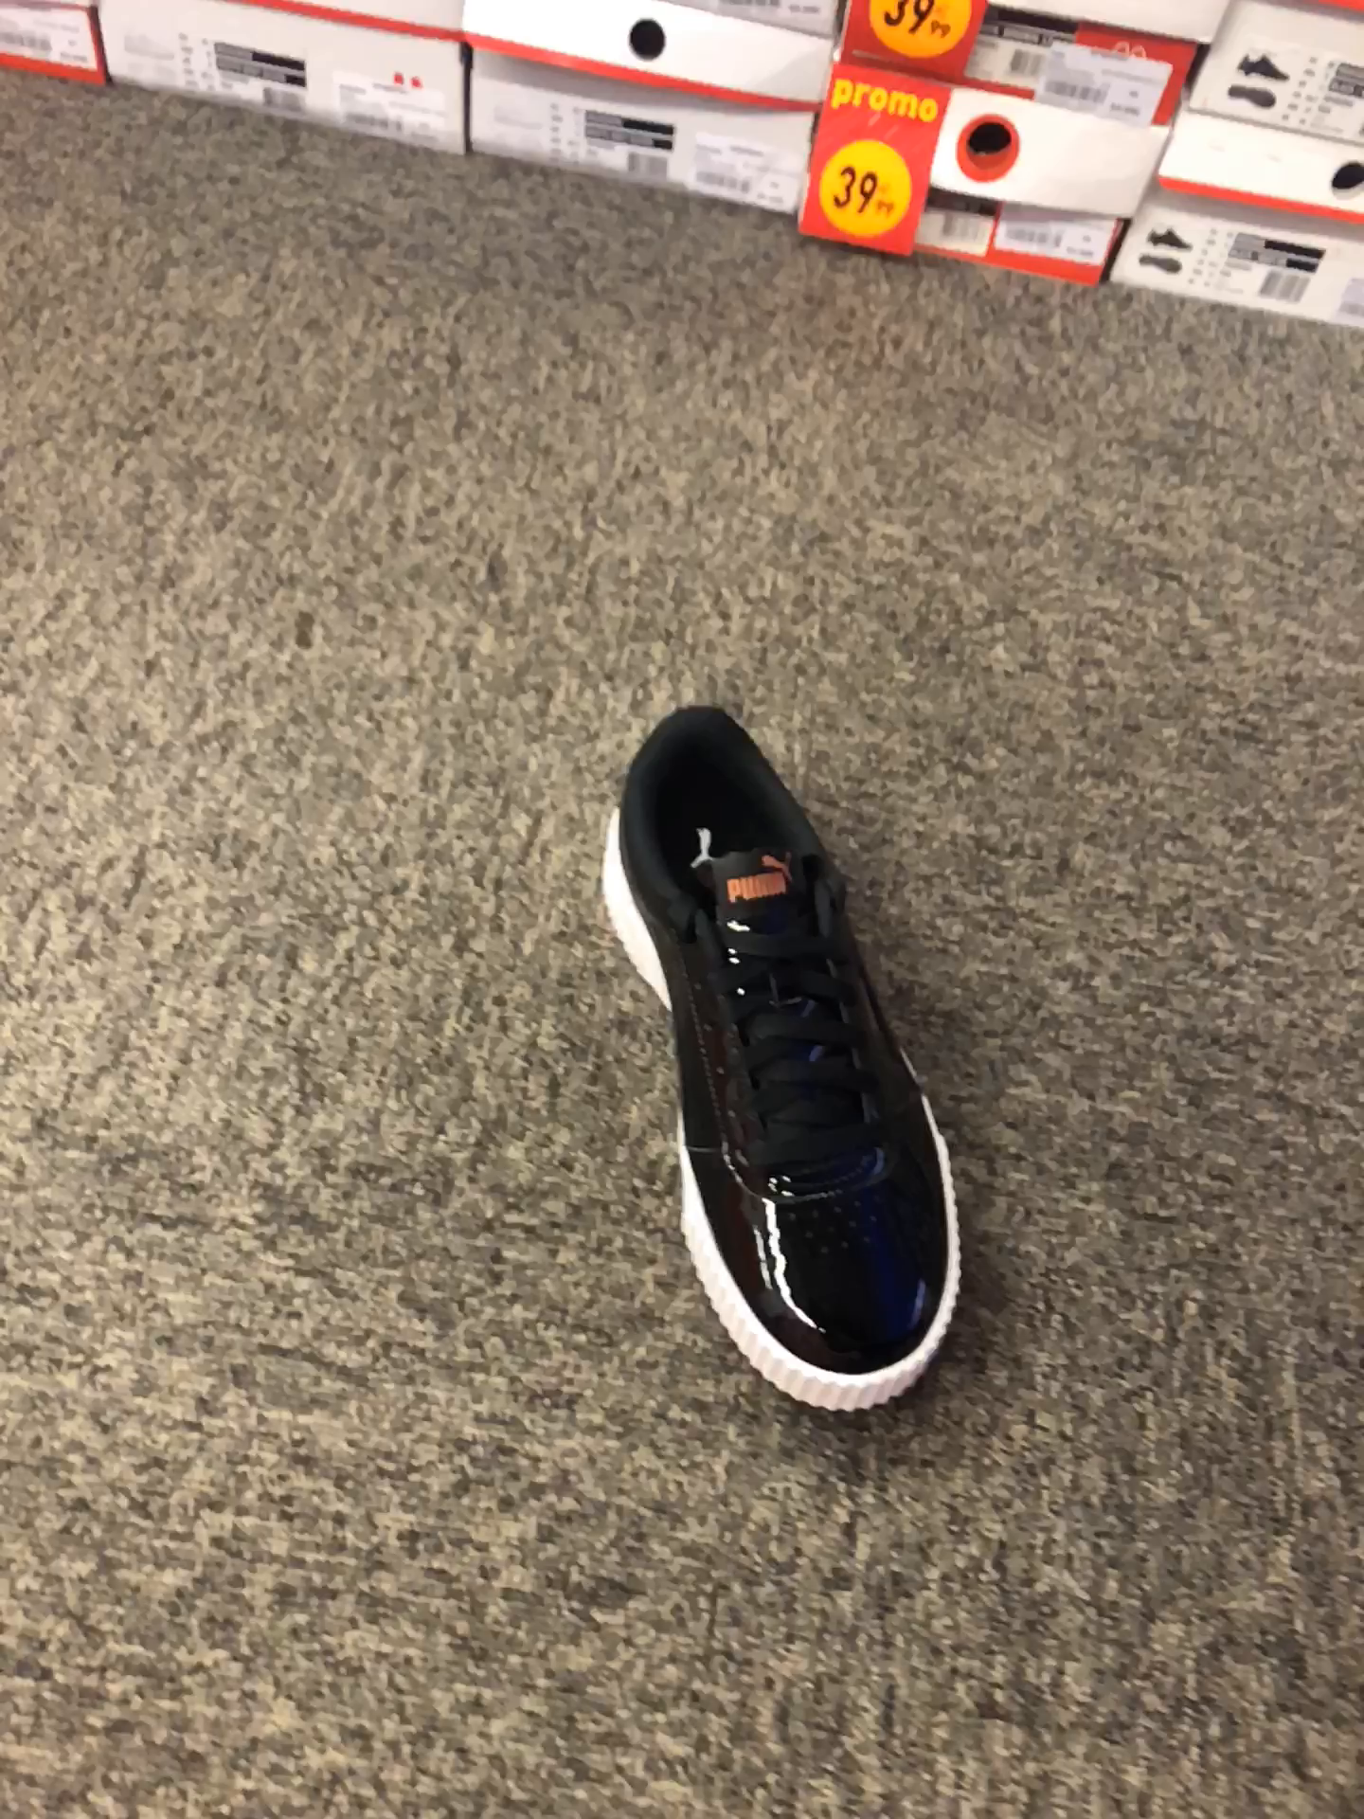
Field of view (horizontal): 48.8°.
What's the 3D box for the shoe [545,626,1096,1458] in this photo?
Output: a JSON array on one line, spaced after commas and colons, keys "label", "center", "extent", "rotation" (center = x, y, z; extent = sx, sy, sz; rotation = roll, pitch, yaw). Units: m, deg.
[{"label": "shoe", "center": [0.033, 0.039, 0.531], "extent": [0.100, 0.100, 0.261], "rotation": [-11, 63, -14]}]
